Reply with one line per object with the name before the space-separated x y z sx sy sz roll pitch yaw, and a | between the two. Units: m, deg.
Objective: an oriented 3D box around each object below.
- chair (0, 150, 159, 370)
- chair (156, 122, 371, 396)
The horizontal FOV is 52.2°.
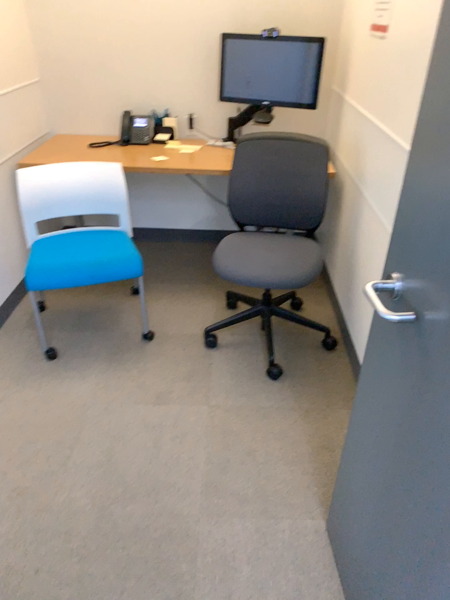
chair | -0.659 -0.236 2.153 0.530 0.686 0.795 -8 33 -15
chair | 0.231 -0.272 2.214 0.751 0.885 0.975 9 33 12
